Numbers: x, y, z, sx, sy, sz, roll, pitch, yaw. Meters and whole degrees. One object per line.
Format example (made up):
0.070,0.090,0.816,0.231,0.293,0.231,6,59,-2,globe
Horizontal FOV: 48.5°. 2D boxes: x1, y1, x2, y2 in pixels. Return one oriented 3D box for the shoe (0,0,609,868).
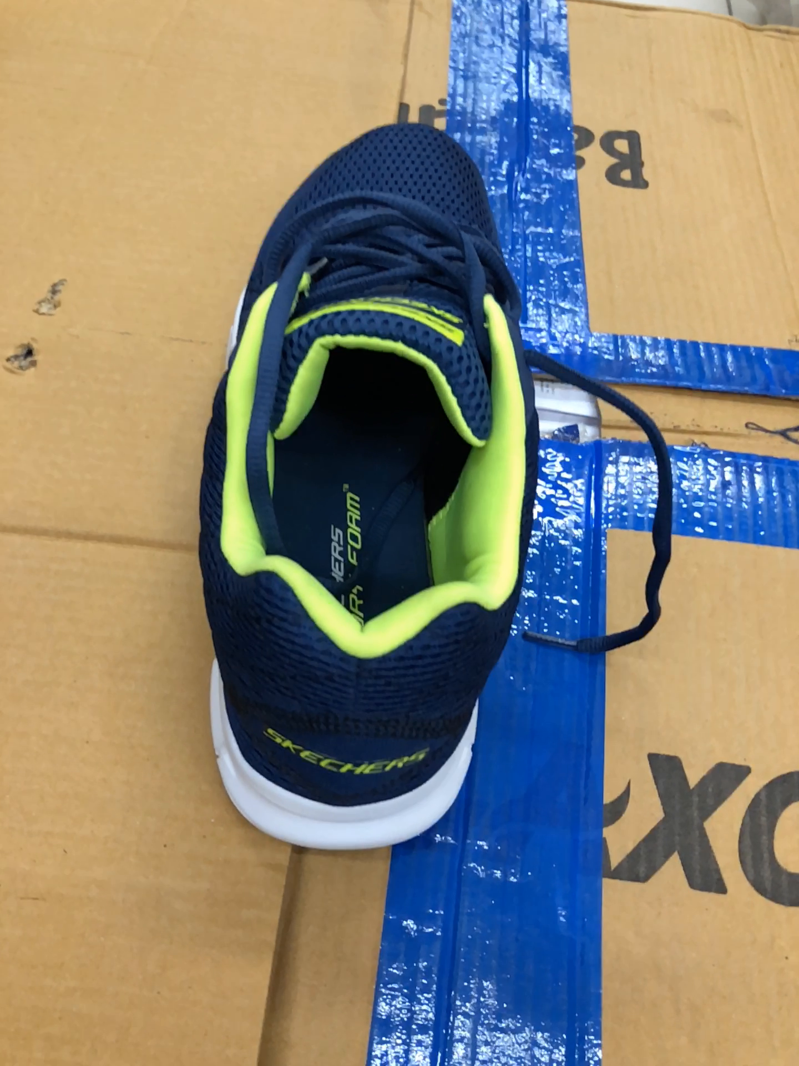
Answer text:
-0.021,-0.062,0.277,0.110,0.129,0.291,3,60,-3,shoe
